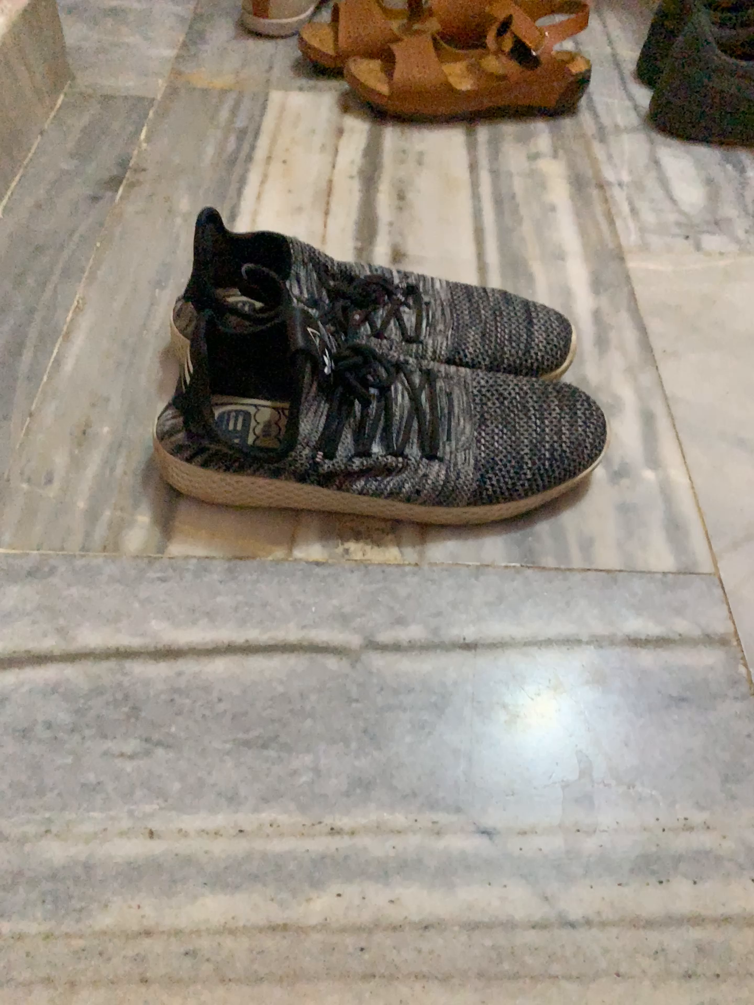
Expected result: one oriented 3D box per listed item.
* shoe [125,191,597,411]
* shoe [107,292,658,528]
[{"bbox_3d":[-0.008,-0.147,0.560,0.300,0.080,0.120,4,52,2],"label":"shoe"},{"bbox_3d":[0.003,-0.059,0.490,0.300,0.080,0.120,1,52,0],"label":"shoe"}]
